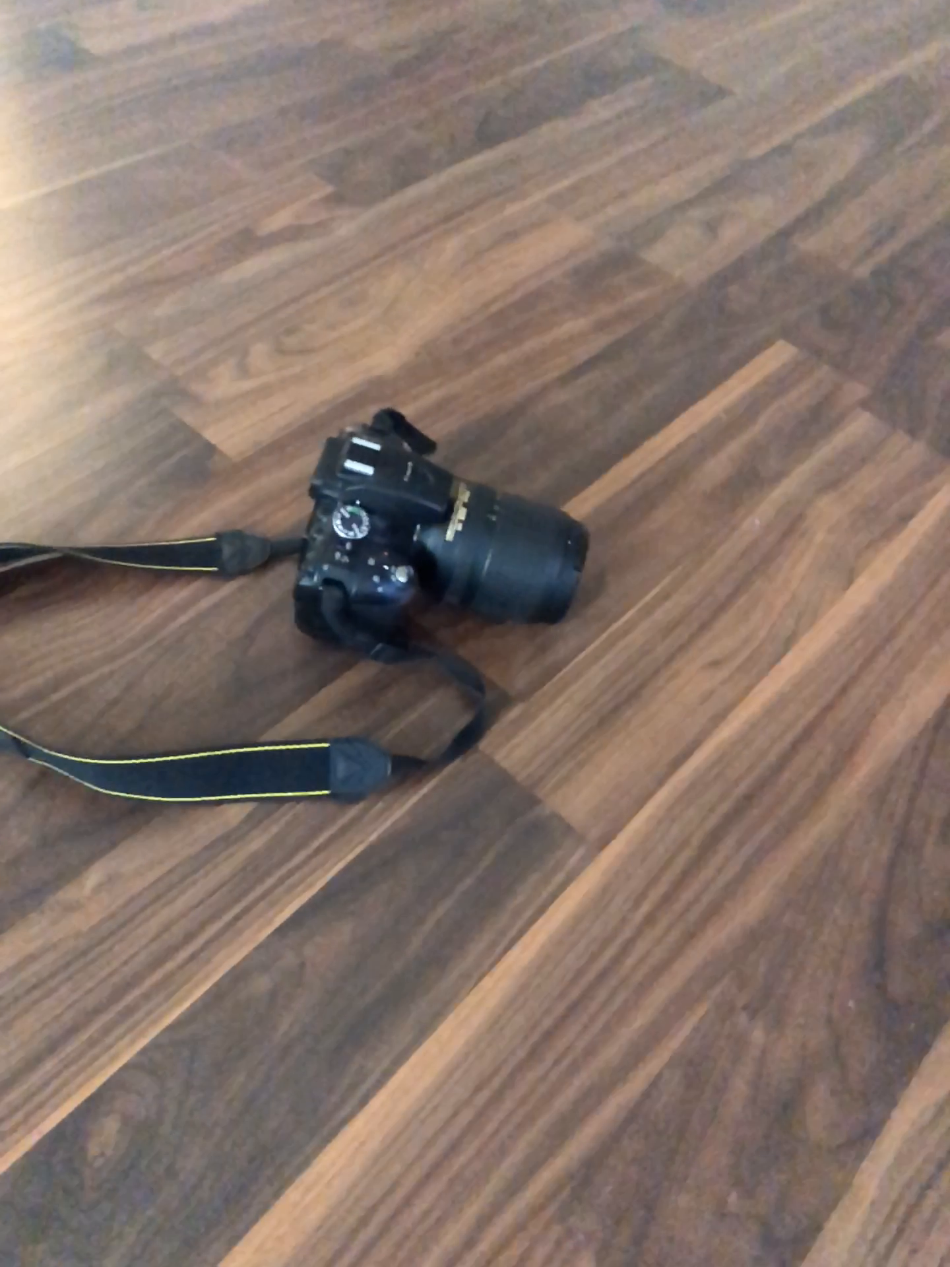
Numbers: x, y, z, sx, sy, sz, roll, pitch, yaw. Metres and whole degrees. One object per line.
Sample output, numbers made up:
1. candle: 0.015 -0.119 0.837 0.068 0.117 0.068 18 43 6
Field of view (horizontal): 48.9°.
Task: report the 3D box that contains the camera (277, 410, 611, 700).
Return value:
1. camera: -0.014 -0.046 0.585 0.160 0.070 0.120 11 50 1
